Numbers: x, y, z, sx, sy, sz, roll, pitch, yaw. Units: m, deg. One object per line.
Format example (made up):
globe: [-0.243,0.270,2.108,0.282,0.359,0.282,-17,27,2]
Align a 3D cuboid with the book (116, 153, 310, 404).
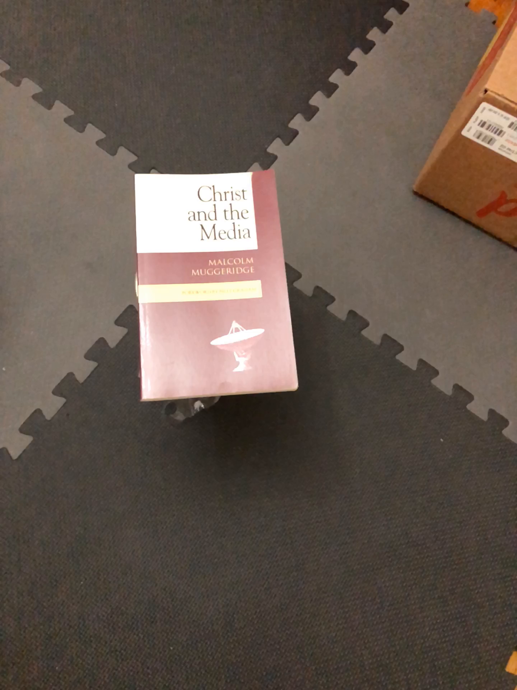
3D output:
book: [-0.041,-0.062,0.476,0.140,0.020,0.210,-4,74,-9]
